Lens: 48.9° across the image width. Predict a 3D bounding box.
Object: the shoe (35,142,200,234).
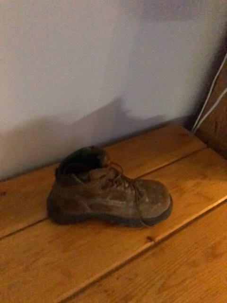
[{"bbox_3d":[0.001,0.075,0.524,0.290,0.130,0.130,1,42,-9],"label":"shoe"}]
